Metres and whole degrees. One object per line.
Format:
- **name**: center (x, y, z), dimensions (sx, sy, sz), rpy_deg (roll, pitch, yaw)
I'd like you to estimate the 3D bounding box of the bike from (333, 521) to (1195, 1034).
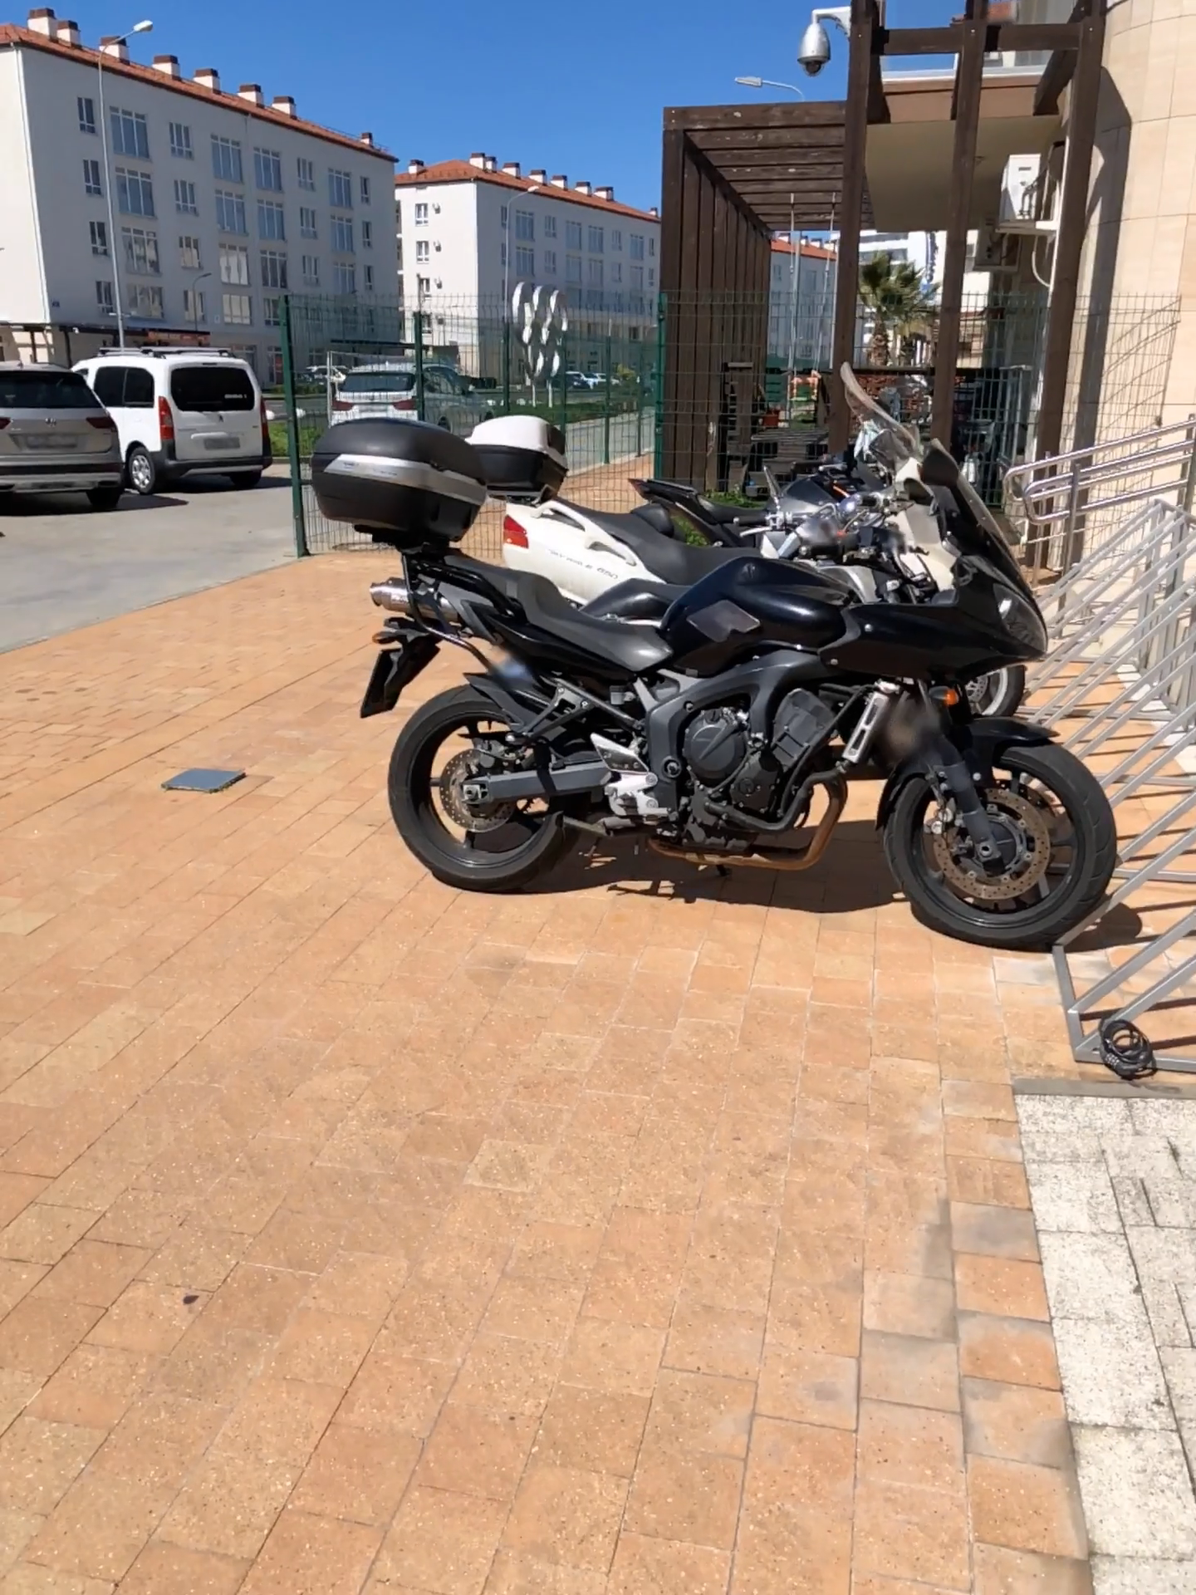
- **bike**: center (0.290, -0.130, 3.285), dimensions (1.920, 1.003, 0.607), rpy_deg (5, 16, 14)
